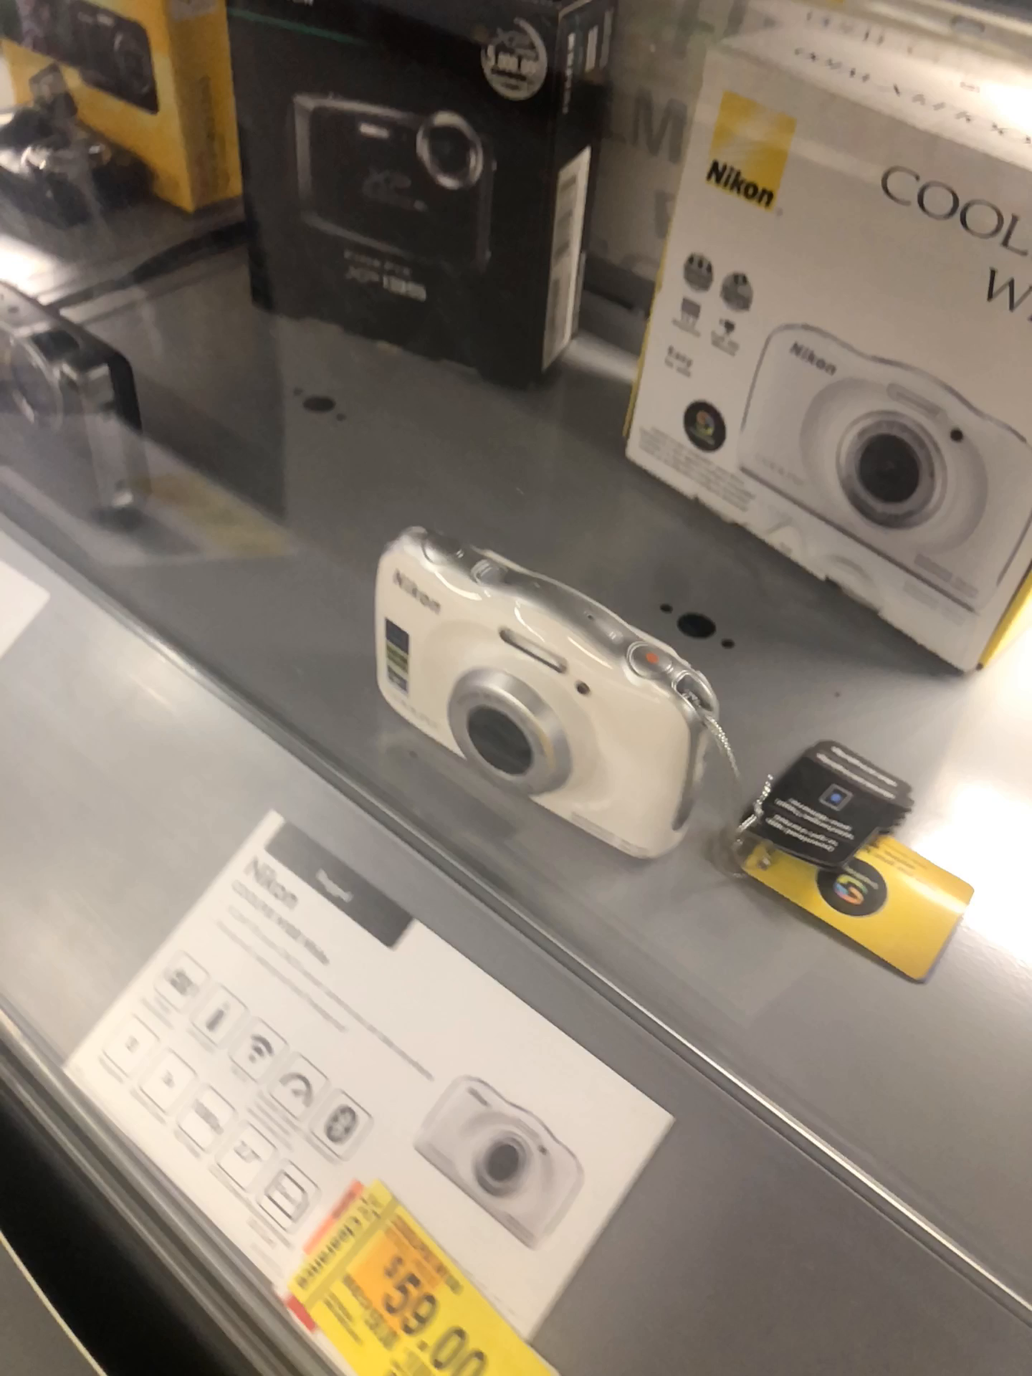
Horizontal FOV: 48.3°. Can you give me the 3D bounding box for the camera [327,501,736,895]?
[{"bbox_3d":[0.000,0.001,0.320,0.110,0.060,0.030,30,50,23],"label":"camera"}]
